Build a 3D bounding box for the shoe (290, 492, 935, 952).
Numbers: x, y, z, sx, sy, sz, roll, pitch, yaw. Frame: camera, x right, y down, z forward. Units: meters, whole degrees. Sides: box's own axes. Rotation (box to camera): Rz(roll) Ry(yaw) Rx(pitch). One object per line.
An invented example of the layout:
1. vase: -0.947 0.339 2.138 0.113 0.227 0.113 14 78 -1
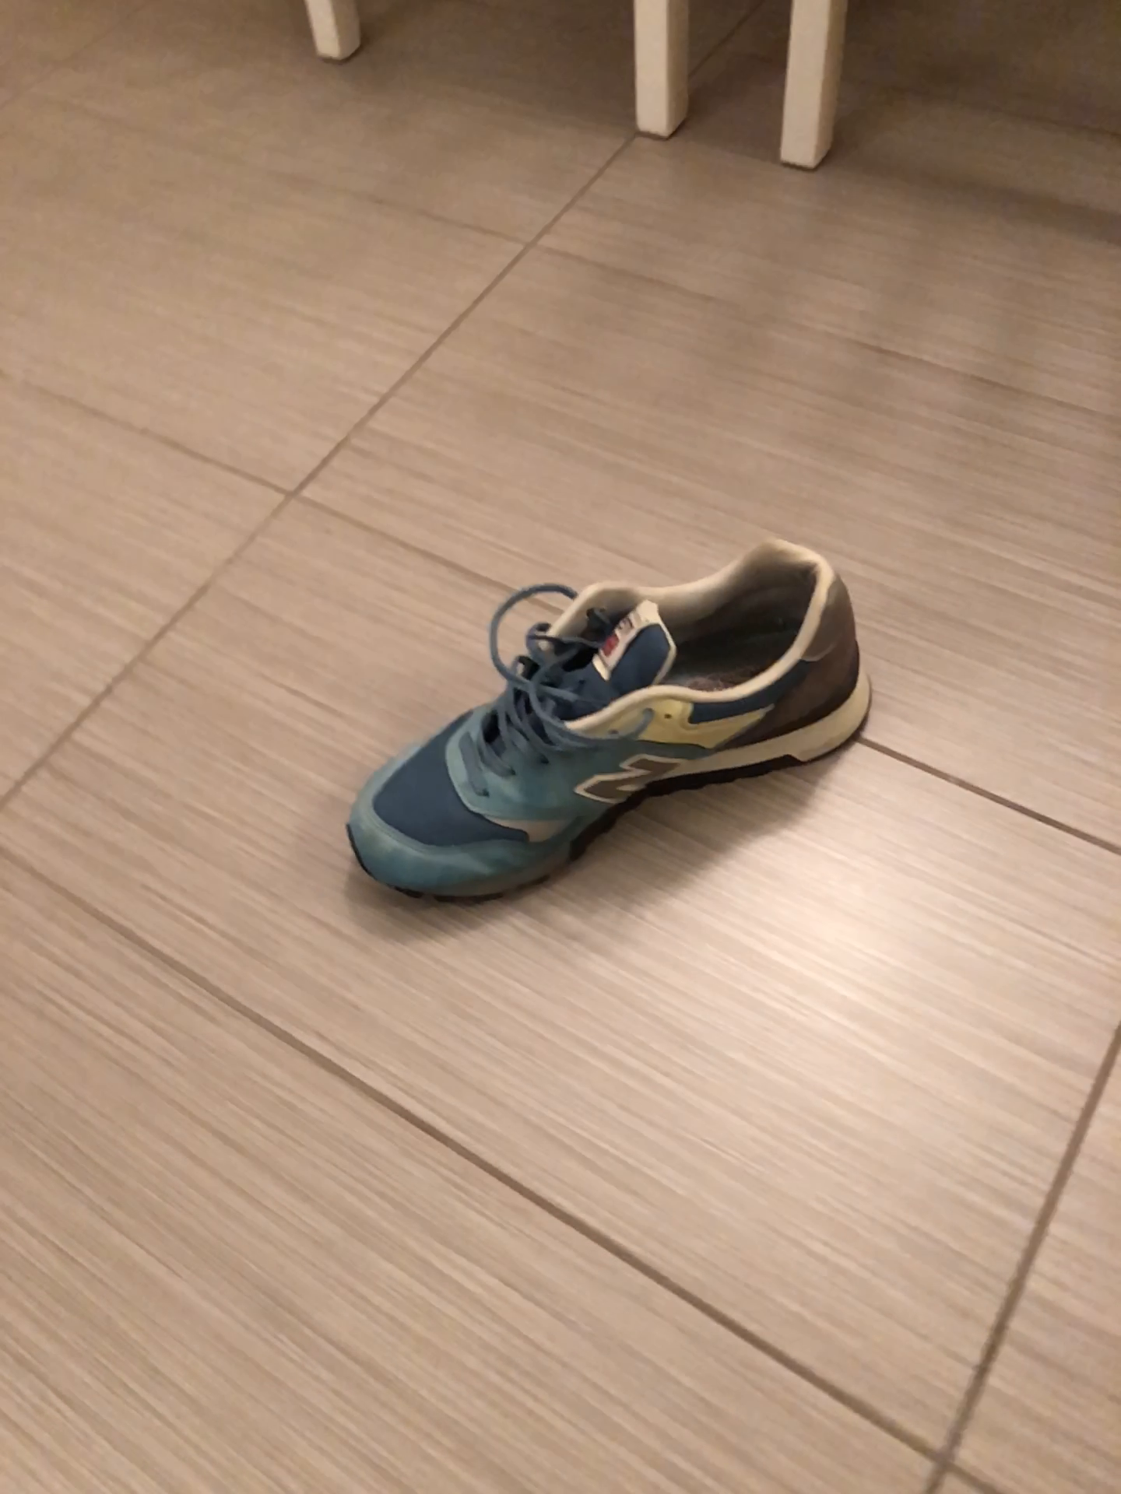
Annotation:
1. shoe: 0.025 -0.017 0.651 0.300 0.070 0.130 -21 56 -6
